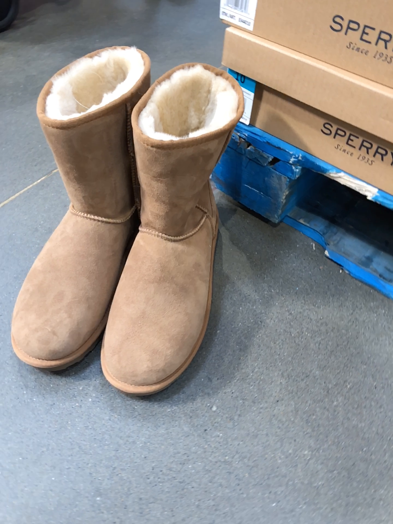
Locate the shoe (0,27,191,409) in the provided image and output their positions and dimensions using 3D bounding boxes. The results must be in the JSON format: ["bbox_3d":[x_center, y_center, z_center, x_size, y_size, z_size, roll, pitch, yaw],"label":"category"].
[{"bbox_3d":[-0.119,-0.050,0.482,0.130,0.259,0.311,15,53,10],"label":"shoe"}]

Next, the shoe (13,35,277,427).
[{"bbox_3d":[-0.021,-0.034,0.470,0.130,0.259,0.311,12,52,8],"label":"shoe"}]
